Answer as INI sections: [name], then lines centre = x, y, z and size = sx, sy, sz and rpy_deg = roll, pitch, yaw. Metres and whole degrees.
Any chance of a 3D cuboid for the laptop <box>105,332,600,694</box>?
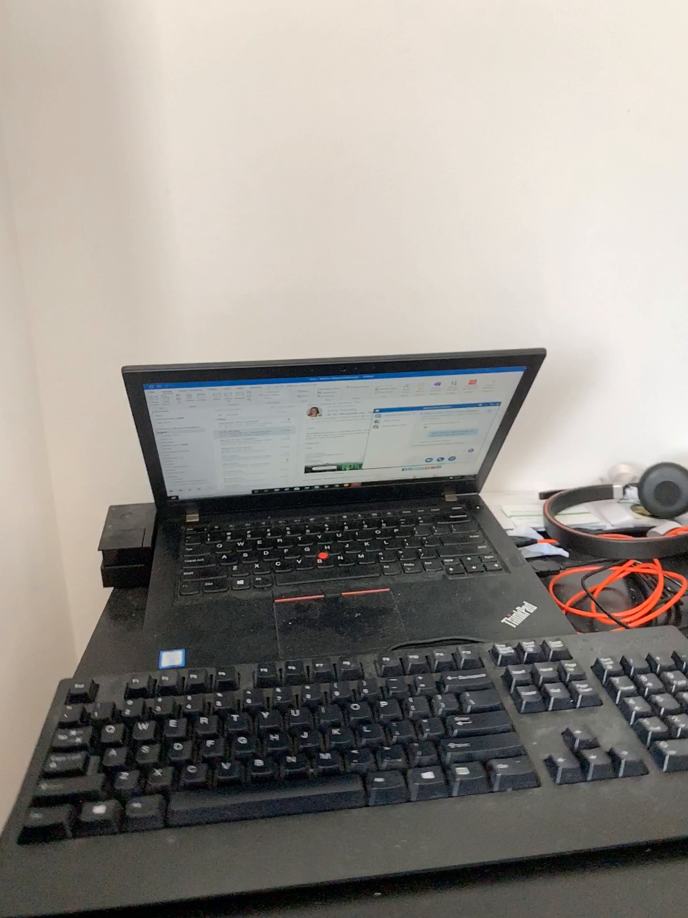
[laptop]
centre = -0.002, 0.017, 0.597
size = 0.335, 0.172, 0.237
rpy_deg = -4, 22, -10
